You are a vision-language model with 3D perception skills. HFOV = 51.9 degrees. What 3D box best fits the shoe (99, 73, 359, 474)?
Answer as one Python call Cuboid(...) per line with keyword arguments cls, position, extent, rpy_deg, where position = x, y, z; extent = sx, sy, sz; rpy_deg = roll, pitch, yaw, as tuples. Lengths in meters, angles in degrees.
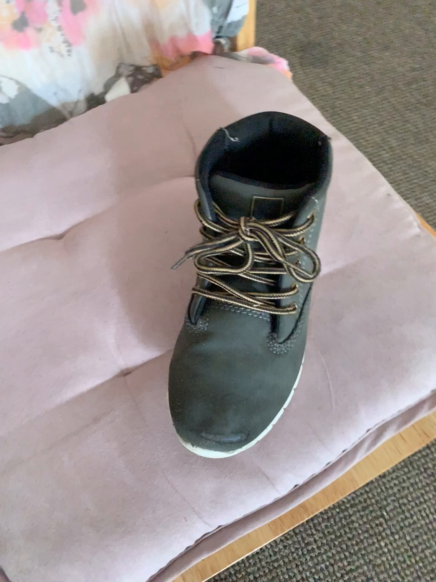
Cuboid(cls="shoe", position=(0.018, -0.008, 0.311), extent=(0.100, 0.129, 0.231), rpy_deg=(12, 66, 5))
